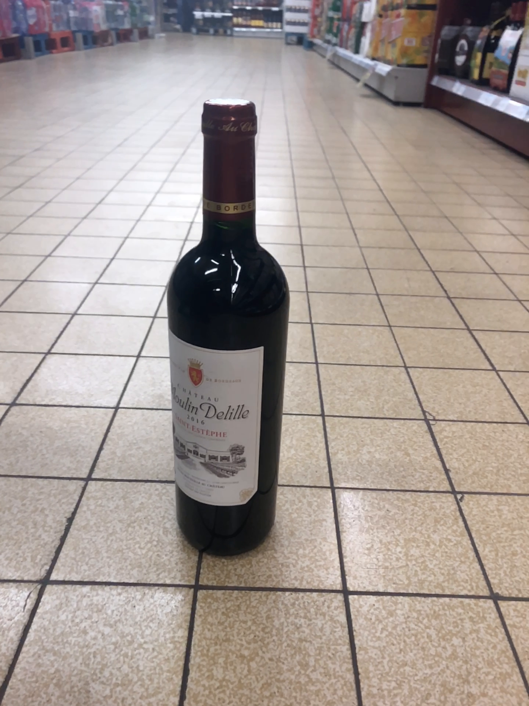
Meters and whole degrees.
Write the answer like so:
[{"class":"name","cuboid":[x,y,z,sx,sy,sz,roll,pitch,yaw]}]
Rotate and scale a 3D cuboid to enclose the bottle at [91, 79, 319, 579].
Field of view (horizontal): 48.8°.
[{"class":"bottle","cuboid":[-0.032,-0.006,0.353,0.080,0.281,0.081,2,28,-1]}]
